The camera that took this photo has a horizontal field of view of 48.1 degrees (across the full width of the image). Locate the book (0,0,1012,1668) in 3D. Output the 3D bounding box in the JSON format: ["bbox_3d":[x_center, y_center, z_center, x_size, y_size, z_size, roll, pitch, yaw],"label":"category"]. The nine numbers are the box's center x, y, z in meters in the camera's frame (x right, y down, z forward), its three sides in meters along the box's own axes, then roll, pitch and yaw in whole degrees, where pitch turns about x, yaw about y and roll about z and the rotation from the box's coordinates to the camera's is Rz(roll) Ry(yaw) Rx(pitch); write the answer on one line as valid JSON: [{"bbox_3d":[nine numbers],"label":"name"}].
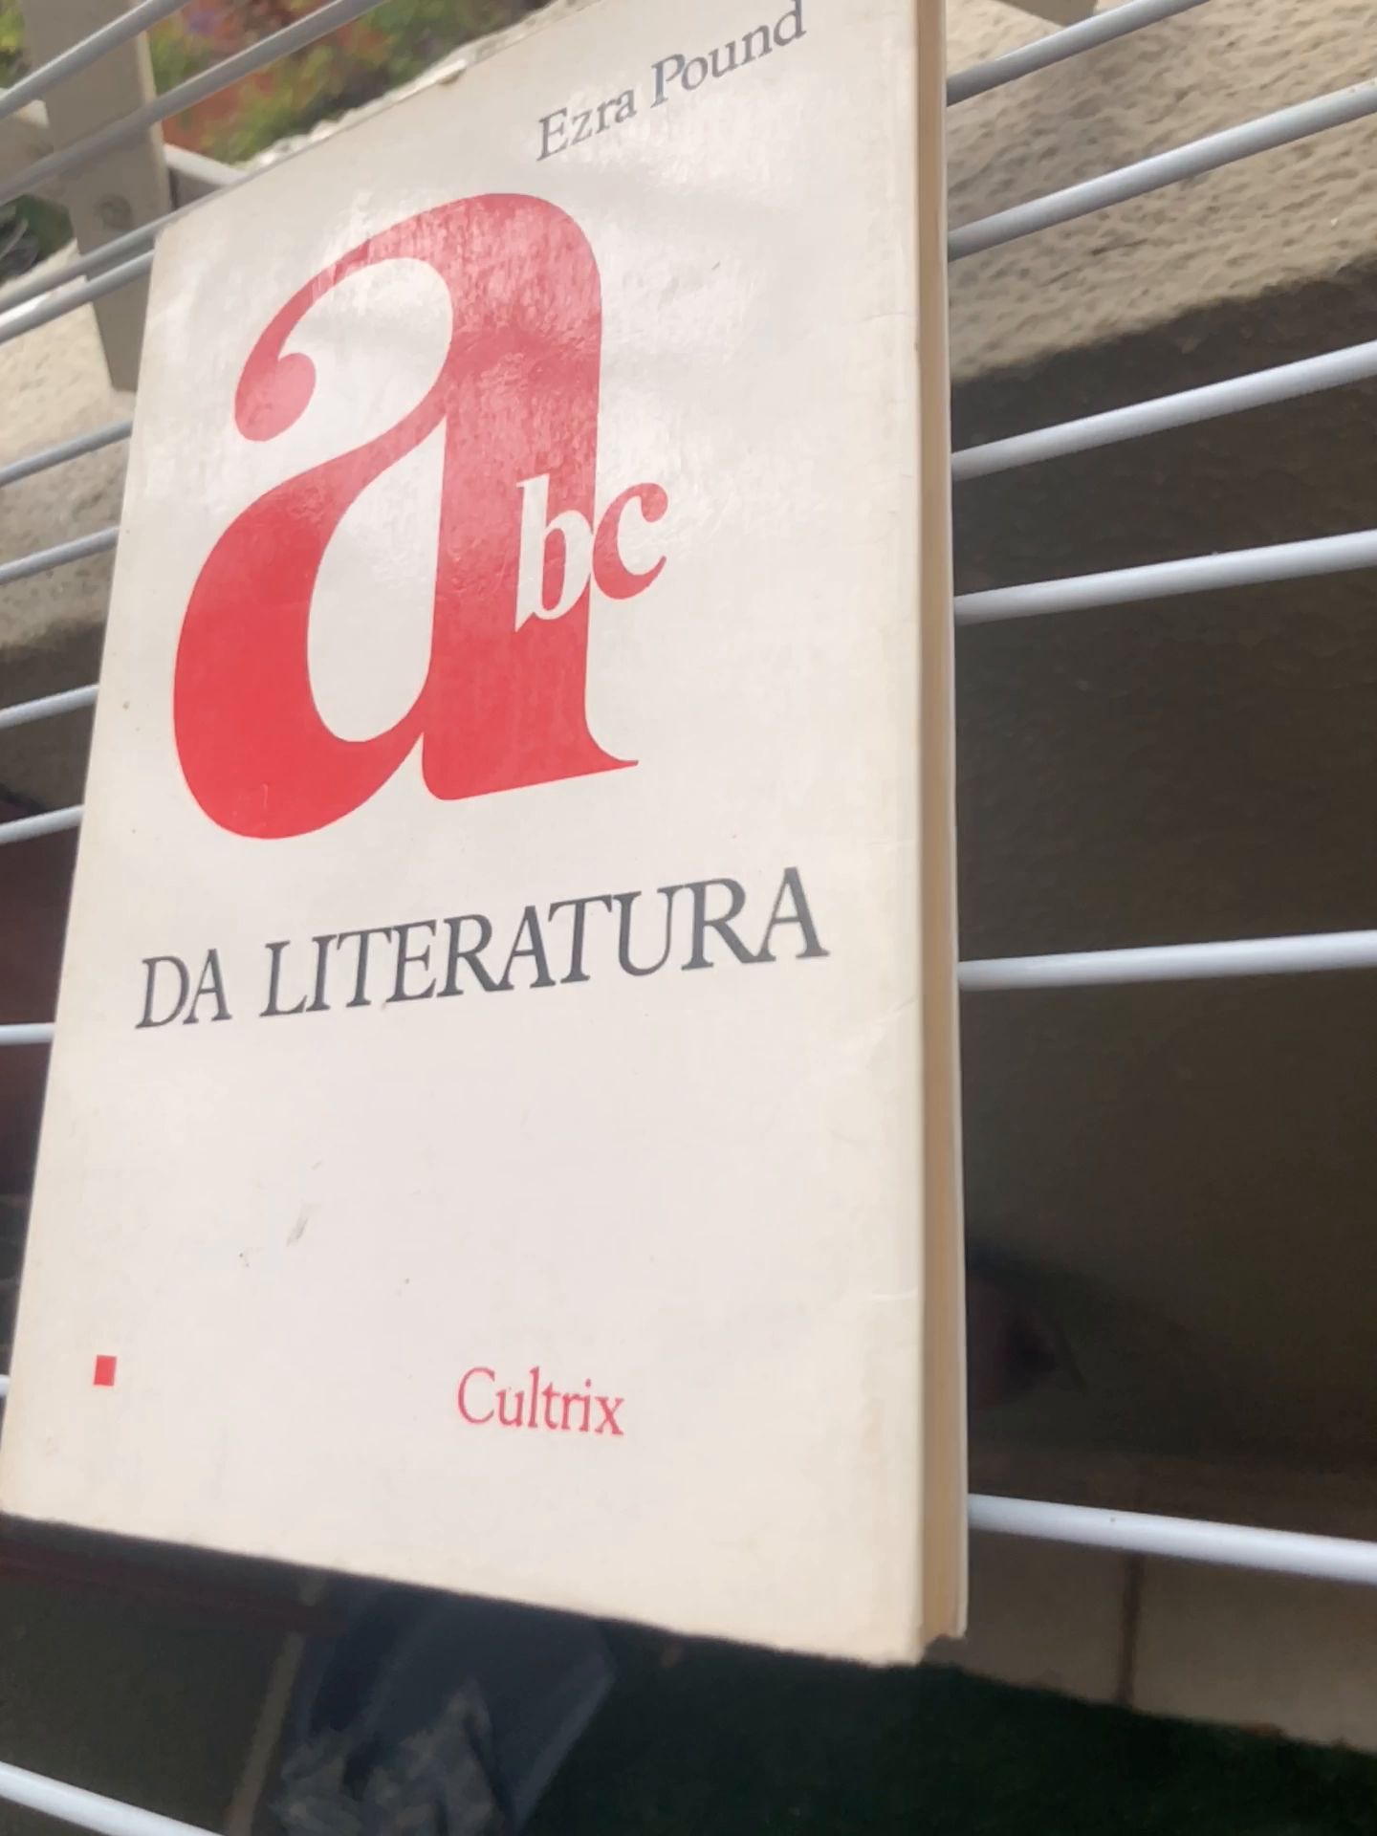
[{"bbox_3d":[-0.032,-0.022,0.191,0.141,0.017,0.188,-7,74,32],"label":"book"}]
